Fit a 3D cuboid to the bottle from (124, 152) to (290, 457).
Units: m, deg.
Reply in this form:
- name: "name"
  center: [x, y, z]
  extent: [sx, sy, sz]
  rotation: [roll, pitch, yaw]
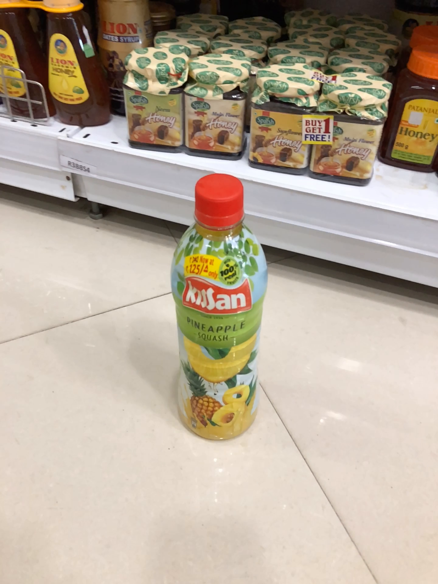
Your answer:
- name: "bottle"
  center: [-0.003, 0.024, 0.358]
  extent: [0.080, 0.229, 0.081]
  rotation: [0, 45, 0]
